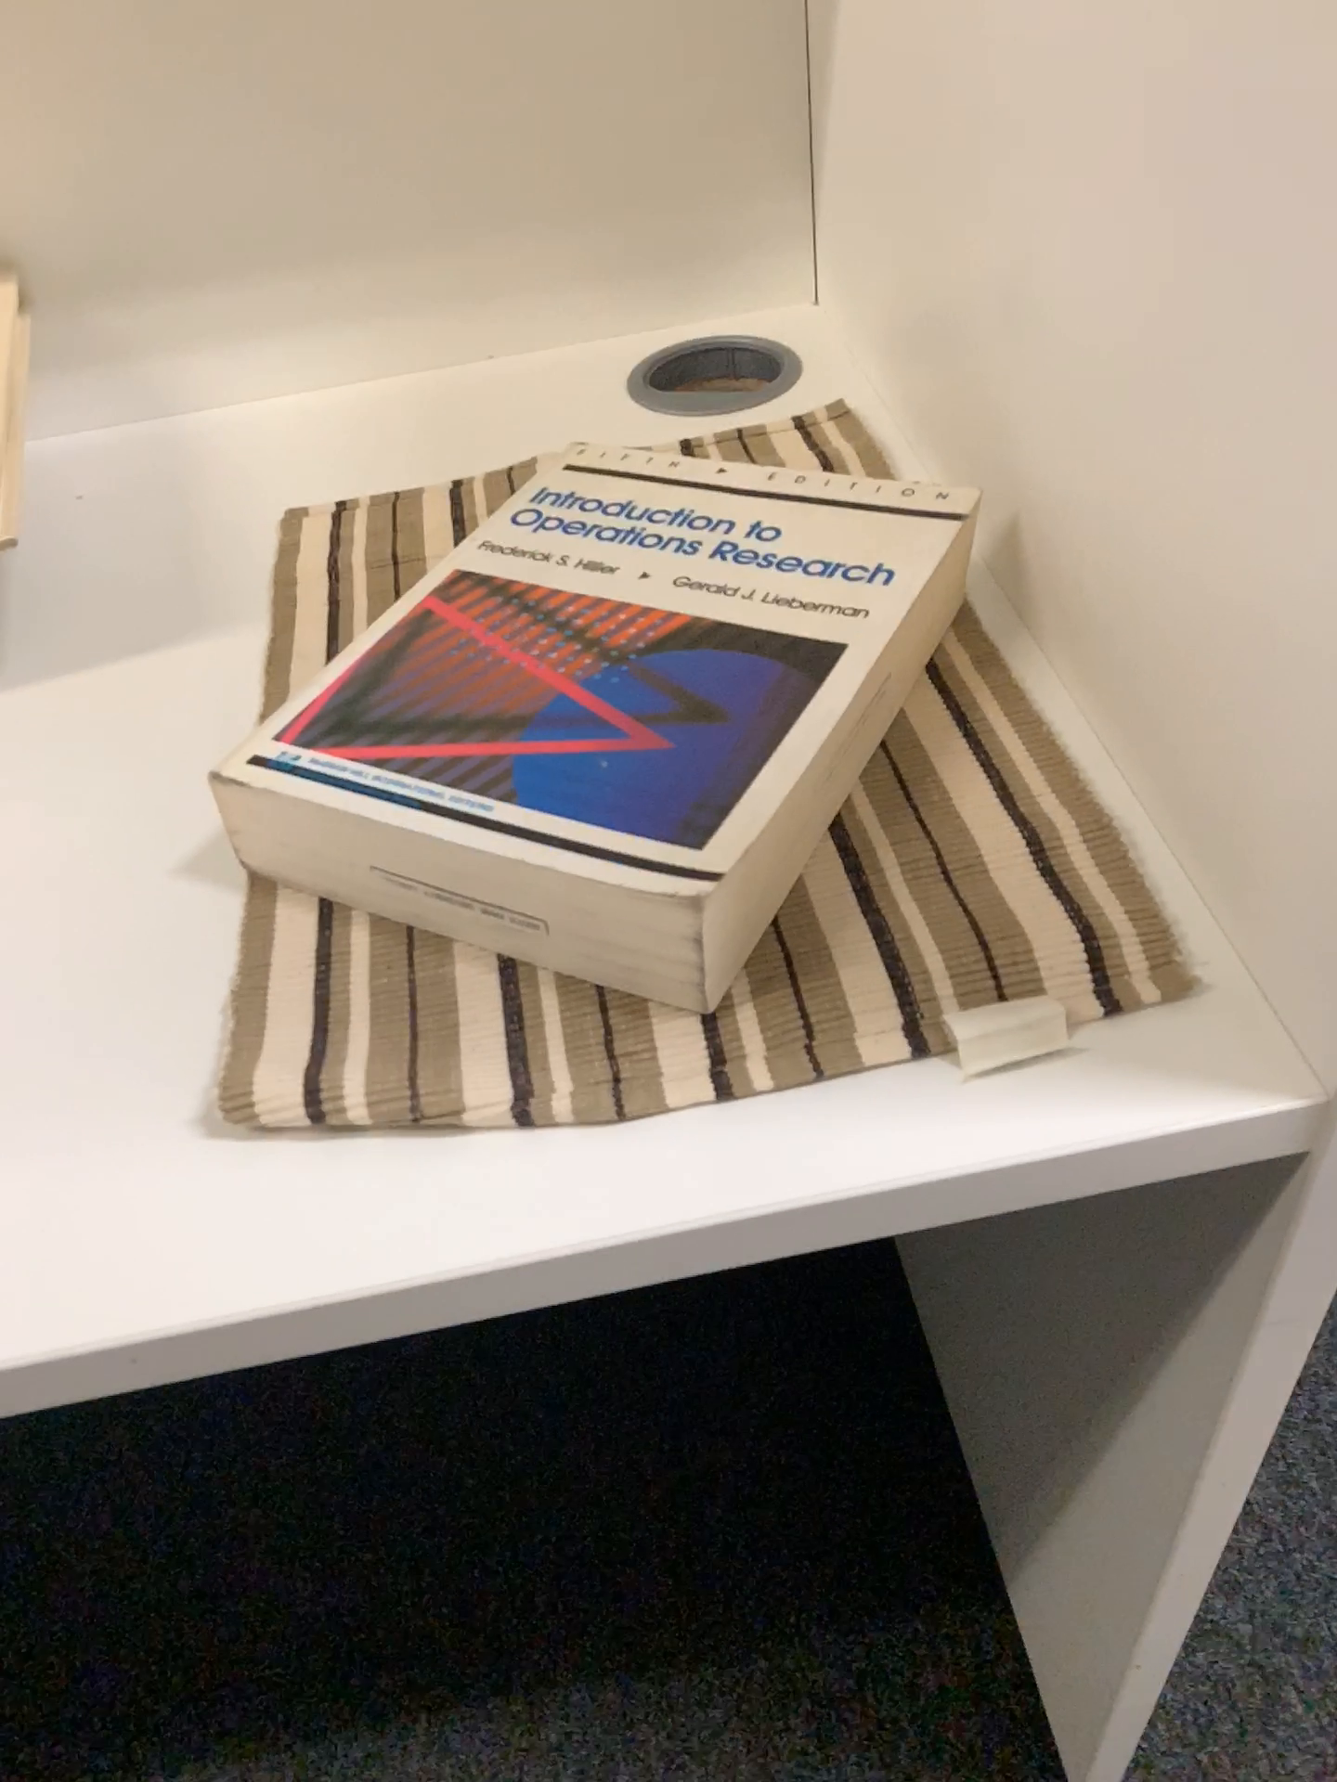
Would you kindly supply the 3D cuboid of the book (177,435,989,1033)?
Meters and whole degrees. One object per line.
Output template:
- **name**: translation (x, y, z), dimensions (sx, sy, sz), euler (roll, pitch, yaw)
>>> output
- **book**: translation (-0.017, -0.078, 0.495), dimensions (0.196, 0.052, 0.235), euler (16, 48, 24)
